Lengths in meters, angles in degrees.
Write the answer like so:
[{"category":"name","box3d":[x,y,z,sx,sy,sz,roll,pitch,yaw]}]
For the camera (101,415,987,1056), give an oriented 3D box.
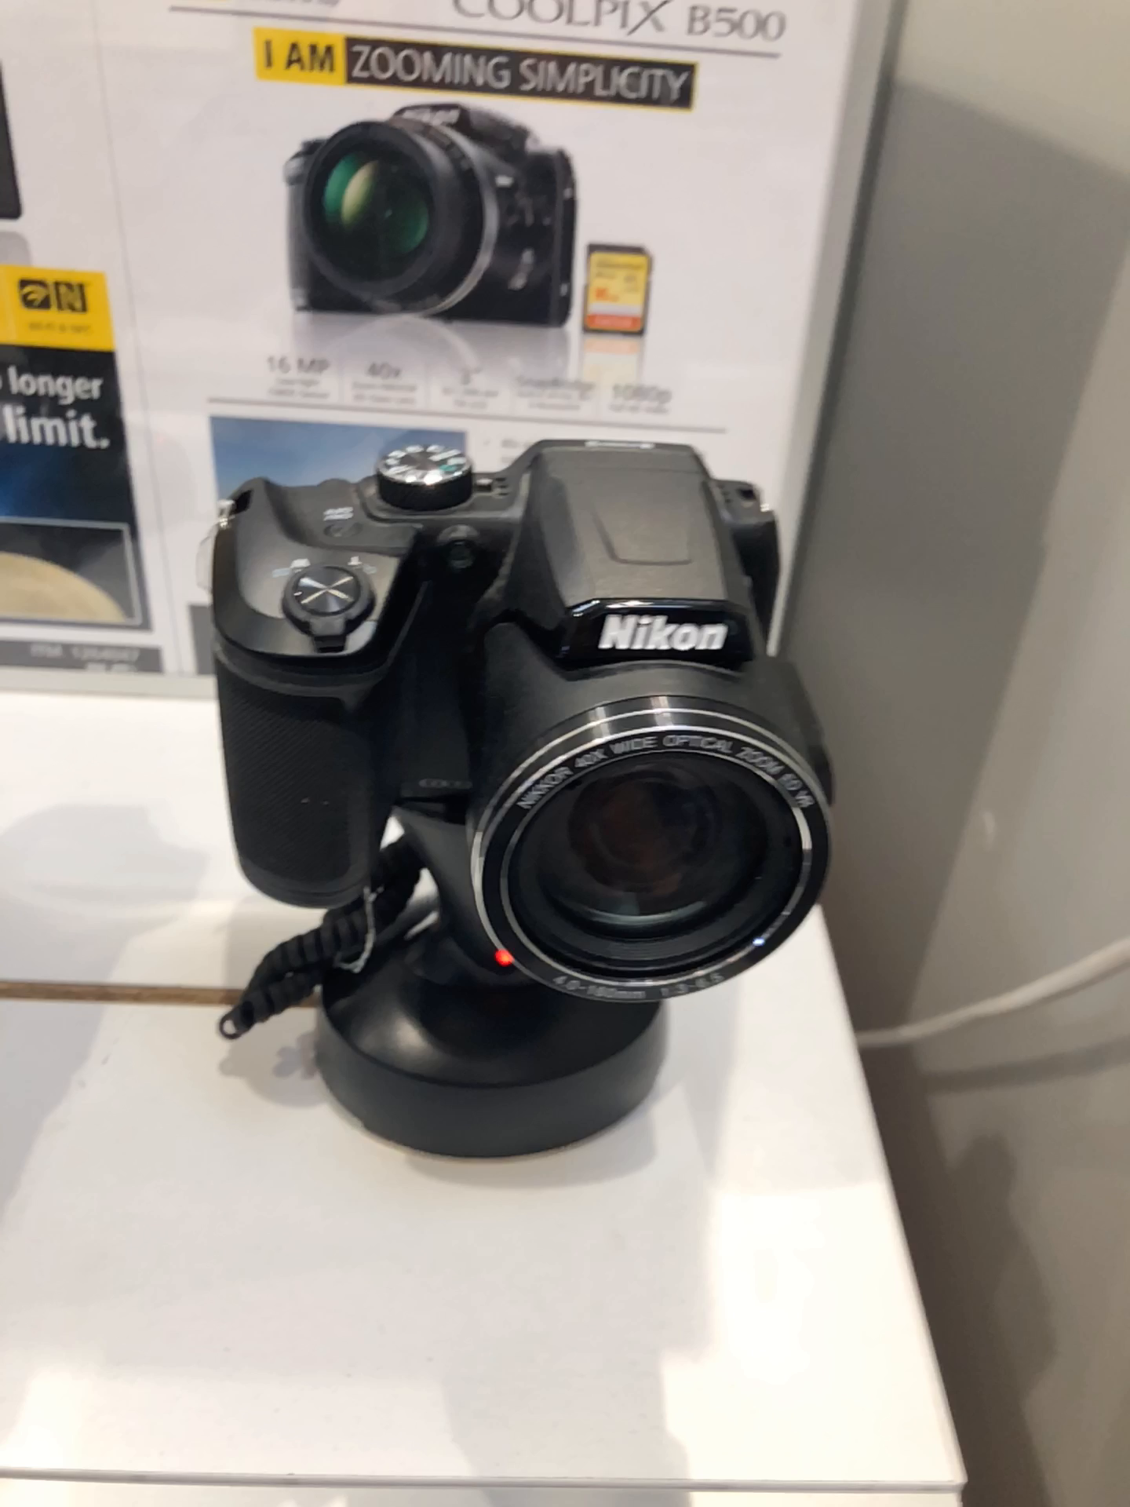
[{"category":"camera","box3d":[-0.007,-0.008,0.231,0.120,0.070,0.101,0,35,-6]}]
